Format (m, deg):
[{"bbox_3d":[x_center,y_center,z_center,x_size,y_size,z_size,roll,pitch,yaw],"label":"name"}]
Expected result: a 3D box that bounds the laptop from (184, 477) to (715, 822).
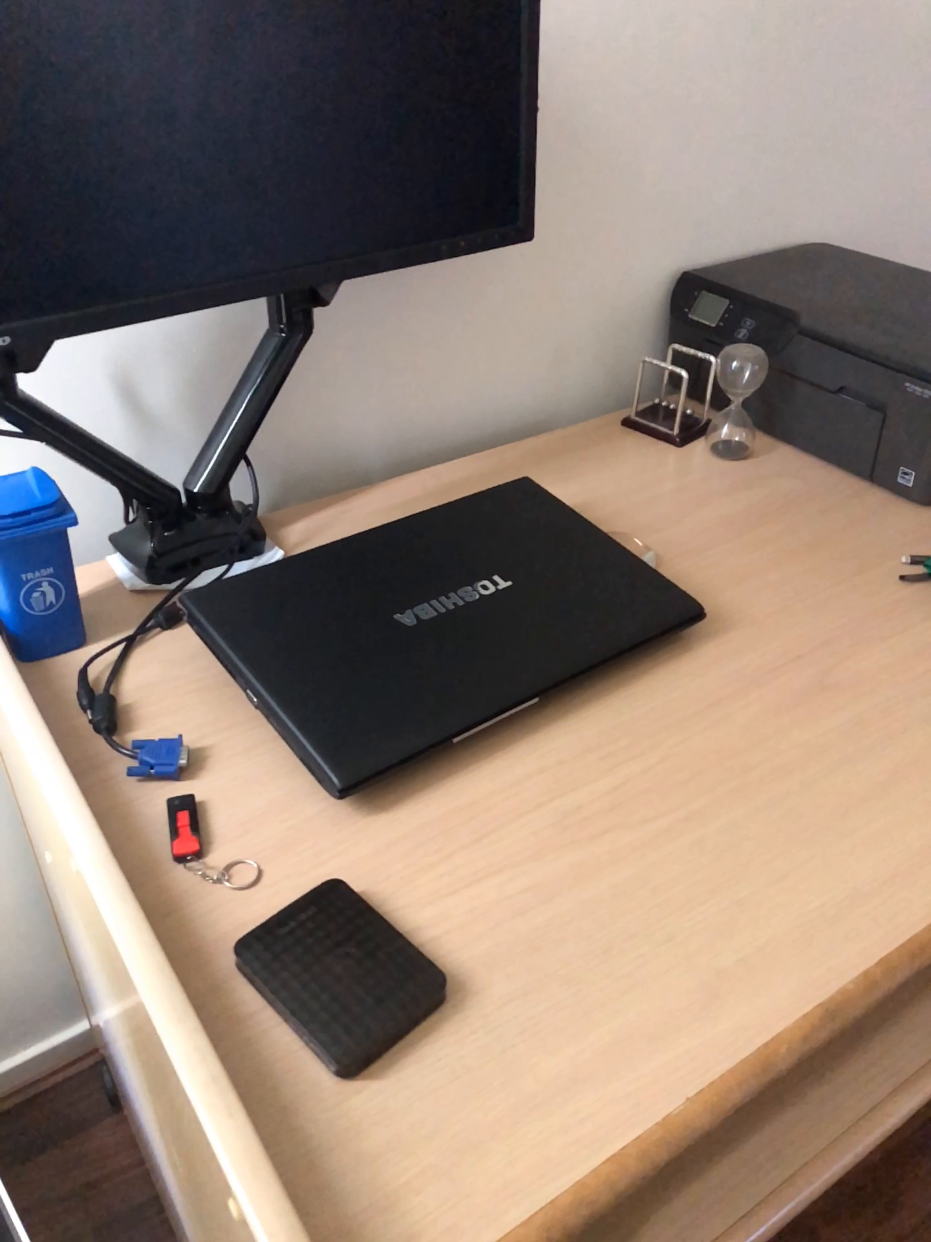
[{"bbox_3d":[-0.008,-0.003,0.890,0.380,0.029,0.257,-23,47,-31],"label":"laptop"}]
